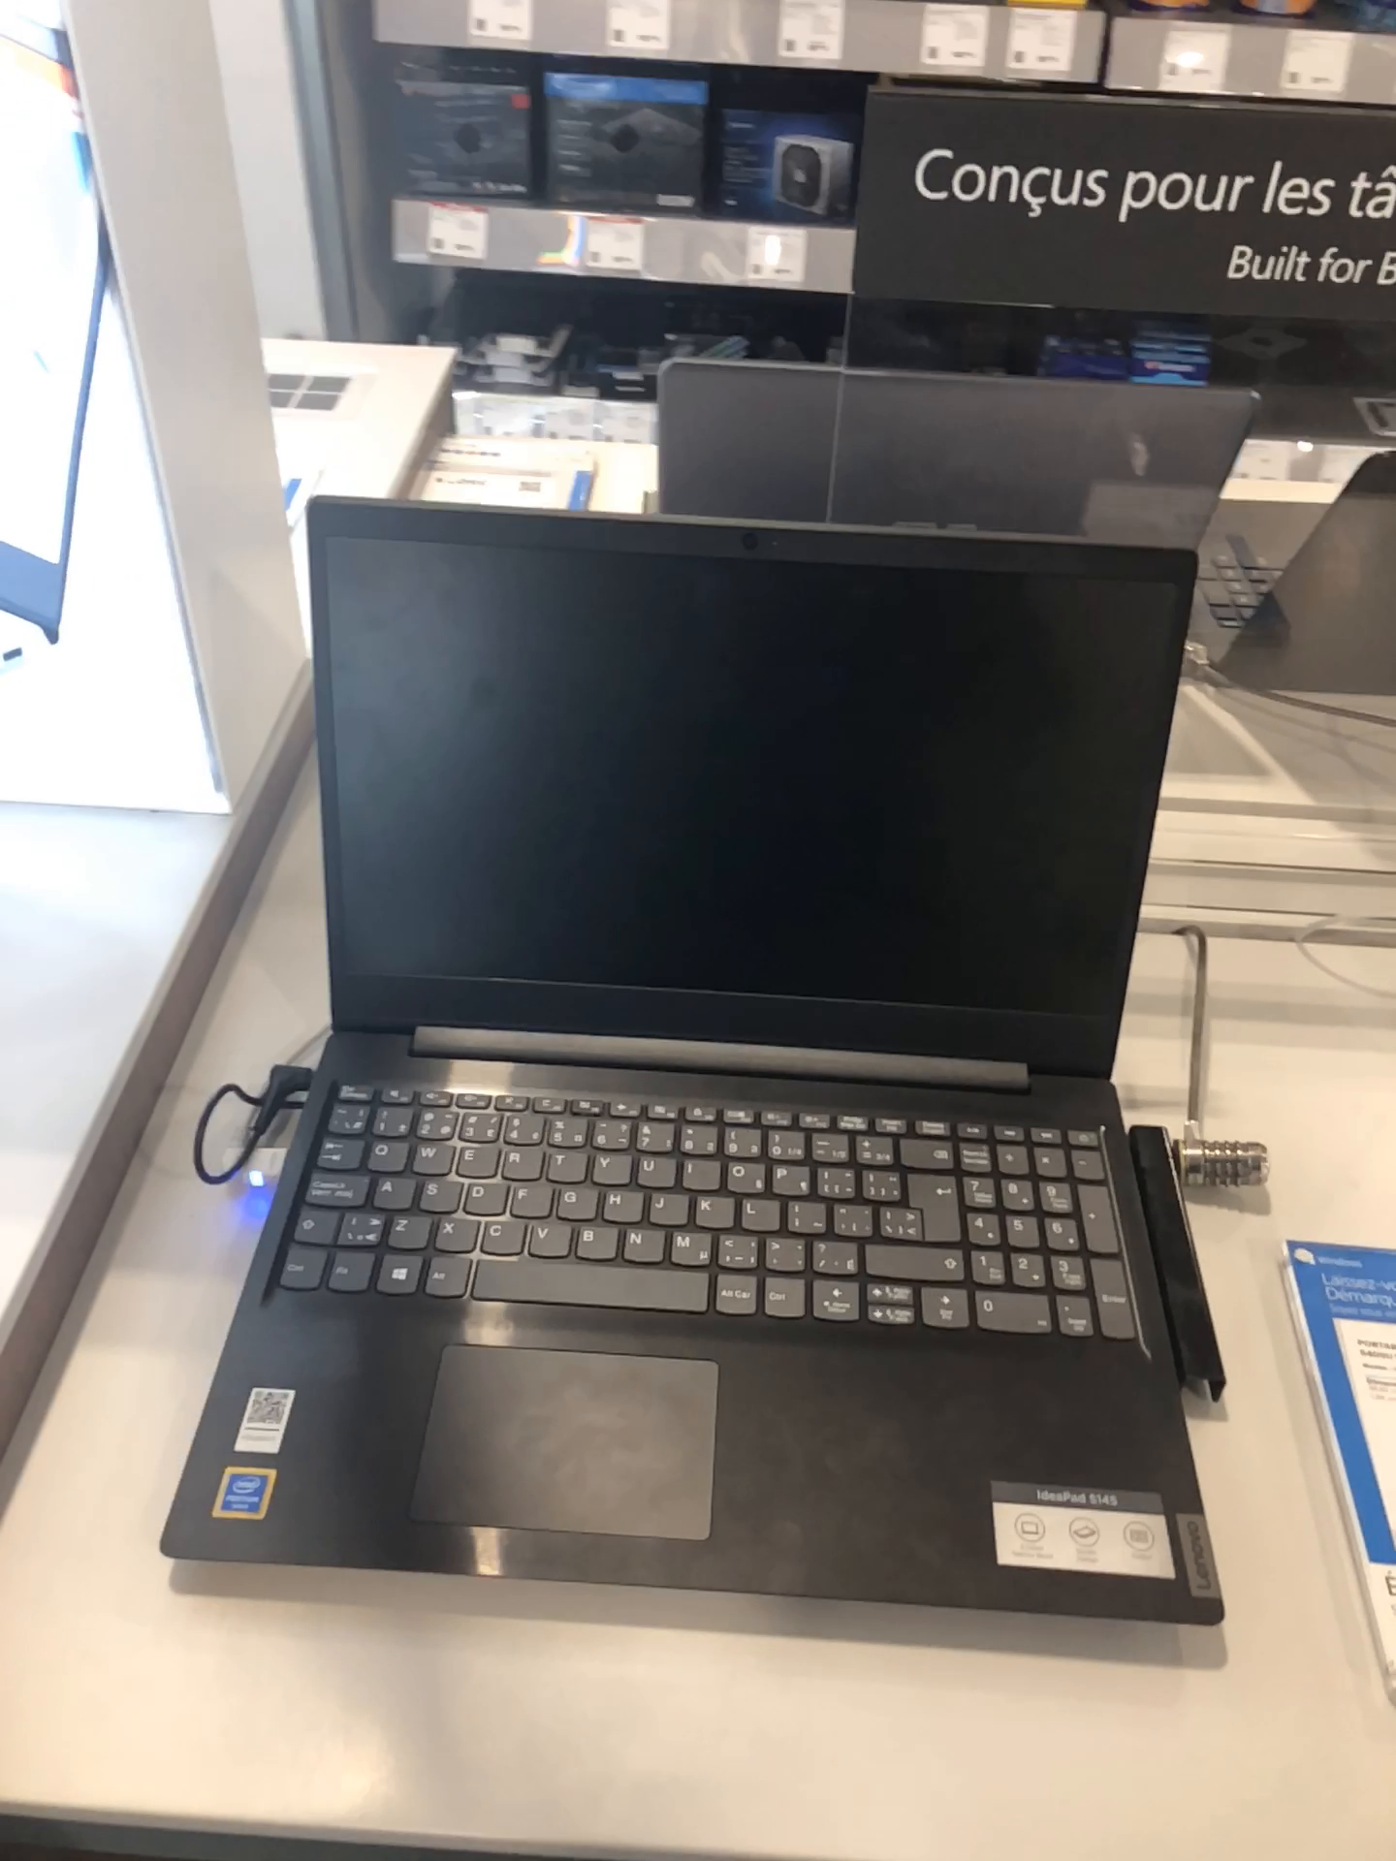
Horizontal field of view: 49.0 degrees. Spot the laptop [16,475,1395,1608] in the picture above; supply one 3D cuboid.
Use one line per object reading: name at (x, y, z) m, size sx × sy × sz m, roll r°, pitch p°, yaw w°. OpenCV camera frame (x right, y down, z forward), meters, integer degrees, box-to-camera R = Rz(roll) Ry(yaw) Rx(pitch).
laptop at (0.008, 0.021, 0.559) m, size 0.345 × 0.213 × 0.324 m, roll 3°, pitch 43°, yaw 1°
